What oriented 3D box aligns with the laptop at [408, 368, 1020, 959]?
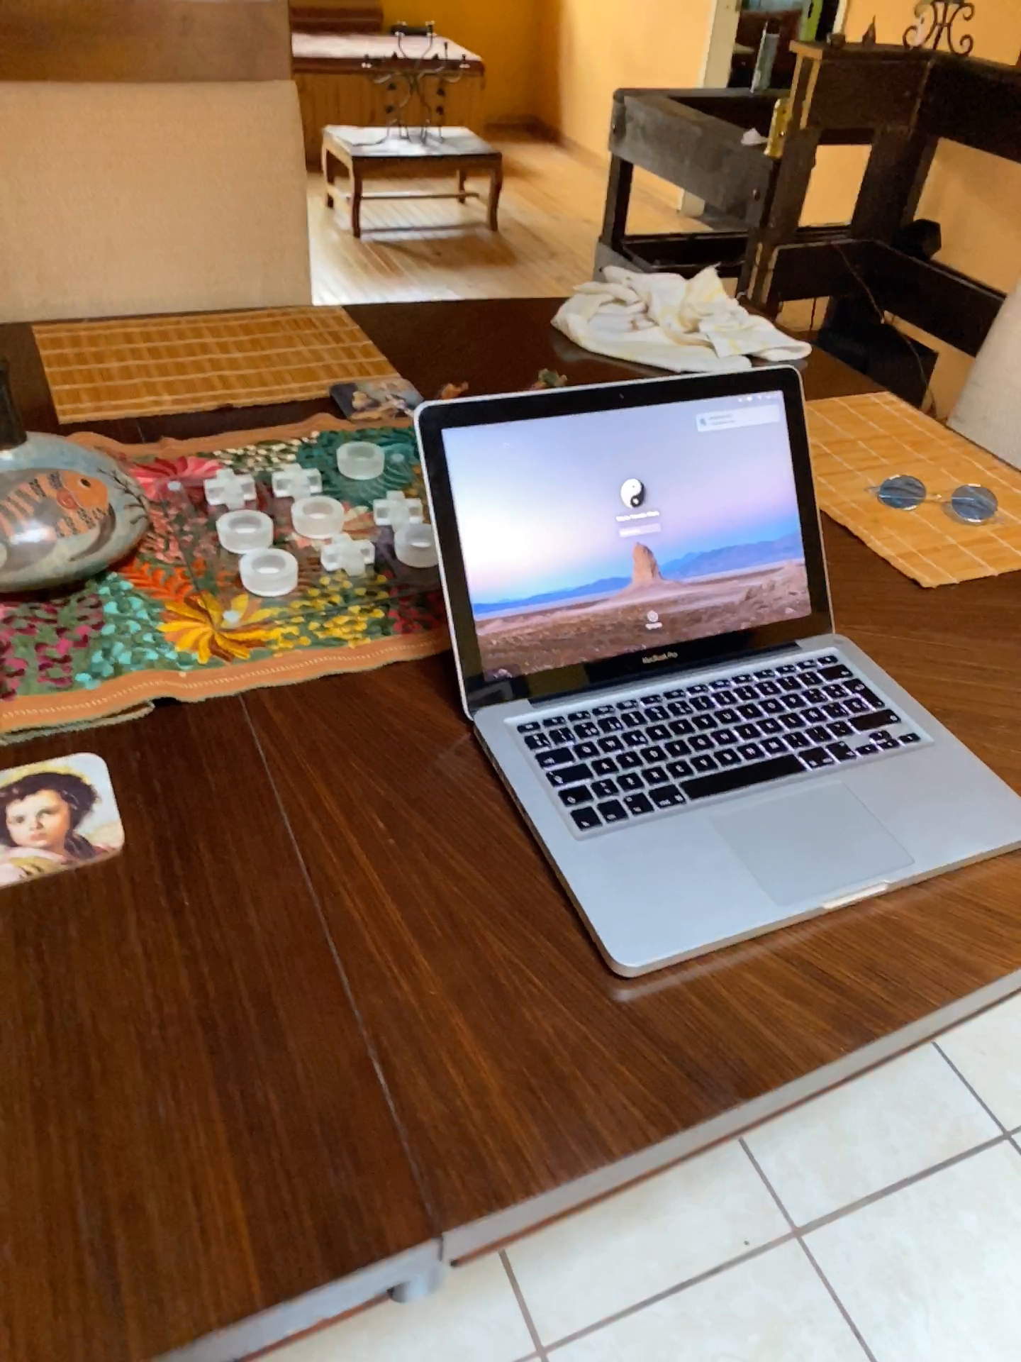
[{"bbox_3d":[0.142,-0.049,0.723,0.325,0.170,0.359,-12,42,-21],"label":"laptop"}]
